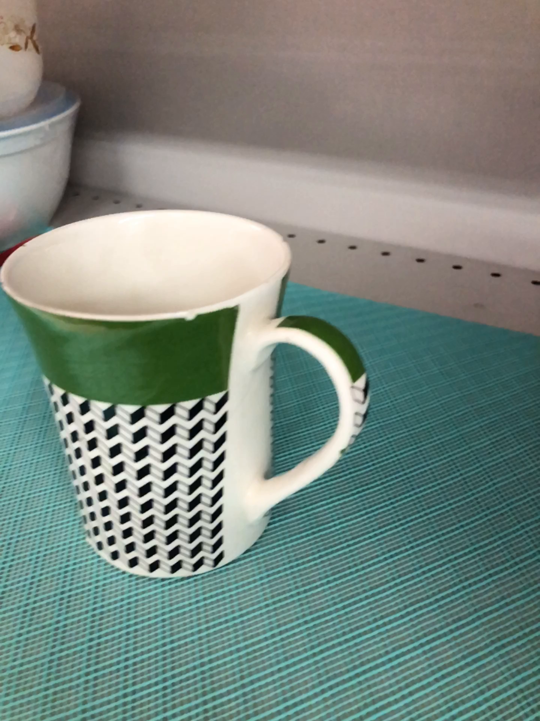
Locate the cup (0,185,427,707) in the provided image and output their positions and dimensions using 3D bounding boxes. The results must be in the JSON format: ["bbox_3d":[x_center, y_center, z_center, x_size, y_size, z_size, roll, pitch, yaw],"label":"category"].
[{"bbox_3d":[-0.024,0.015,0.179,0.110,0.099,0.081,13,34,20],"label":"cup"}]
